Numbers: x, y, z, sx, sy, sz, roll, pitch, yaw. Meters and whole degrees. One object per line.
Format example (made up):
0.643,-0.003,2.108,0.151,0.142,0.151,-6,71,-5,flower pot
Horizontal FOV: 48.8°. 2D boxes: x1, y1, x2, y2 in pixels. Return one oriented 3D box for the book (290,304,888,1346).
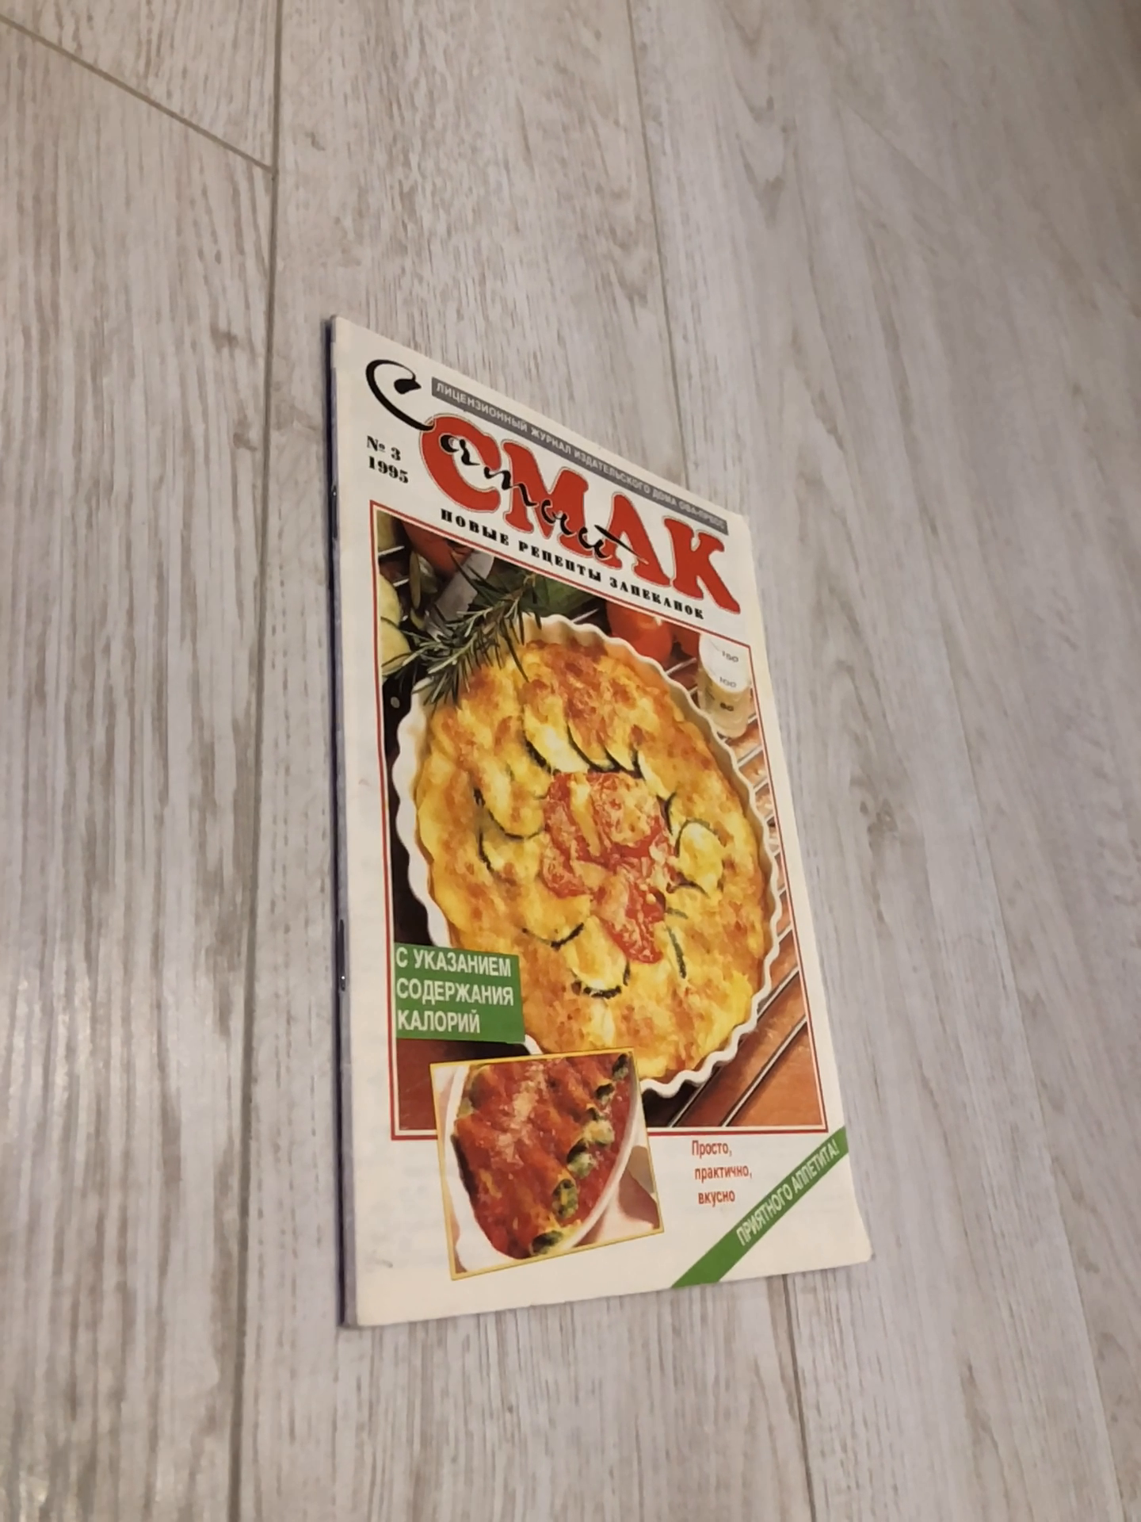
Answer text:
0.006,0.015,0.323,0.166,0.020,0.230,15,61,-41,book
